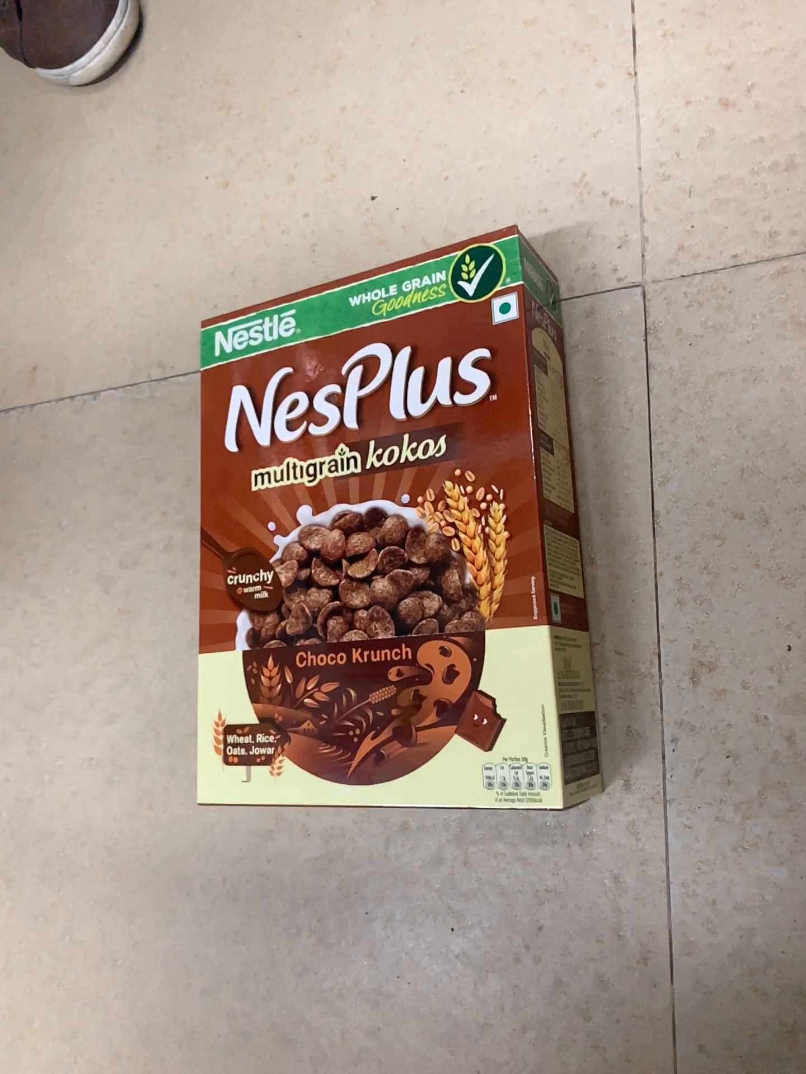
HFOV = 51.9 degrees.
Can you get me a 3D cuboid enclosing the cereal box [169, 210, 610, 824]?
[{"bbox_3d":[-0.014,0.001,0.454,0.211,0.090,0.280,-8,78,26],"label":"cereal box"}]
